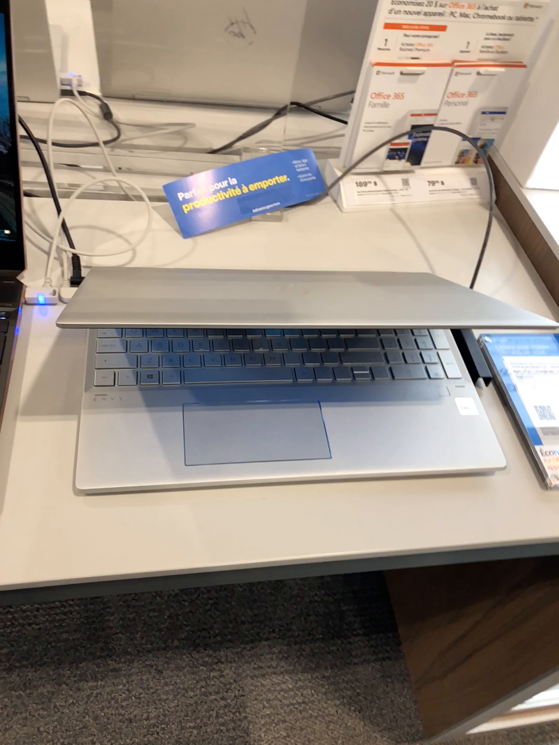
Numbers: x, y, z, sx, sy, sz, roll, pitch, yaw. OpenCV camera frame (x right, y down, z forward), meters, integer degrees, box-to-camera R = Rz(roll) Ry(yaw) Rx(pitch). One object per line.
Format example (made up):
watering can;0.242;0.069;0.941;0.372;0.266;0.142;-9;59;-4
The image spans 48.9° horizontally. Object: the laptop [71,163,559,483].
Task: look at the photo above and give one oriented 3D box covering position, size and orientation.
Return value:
laptop;0.022;-0.046;0.509;0.346;0.116;0.230;0;51;-10
